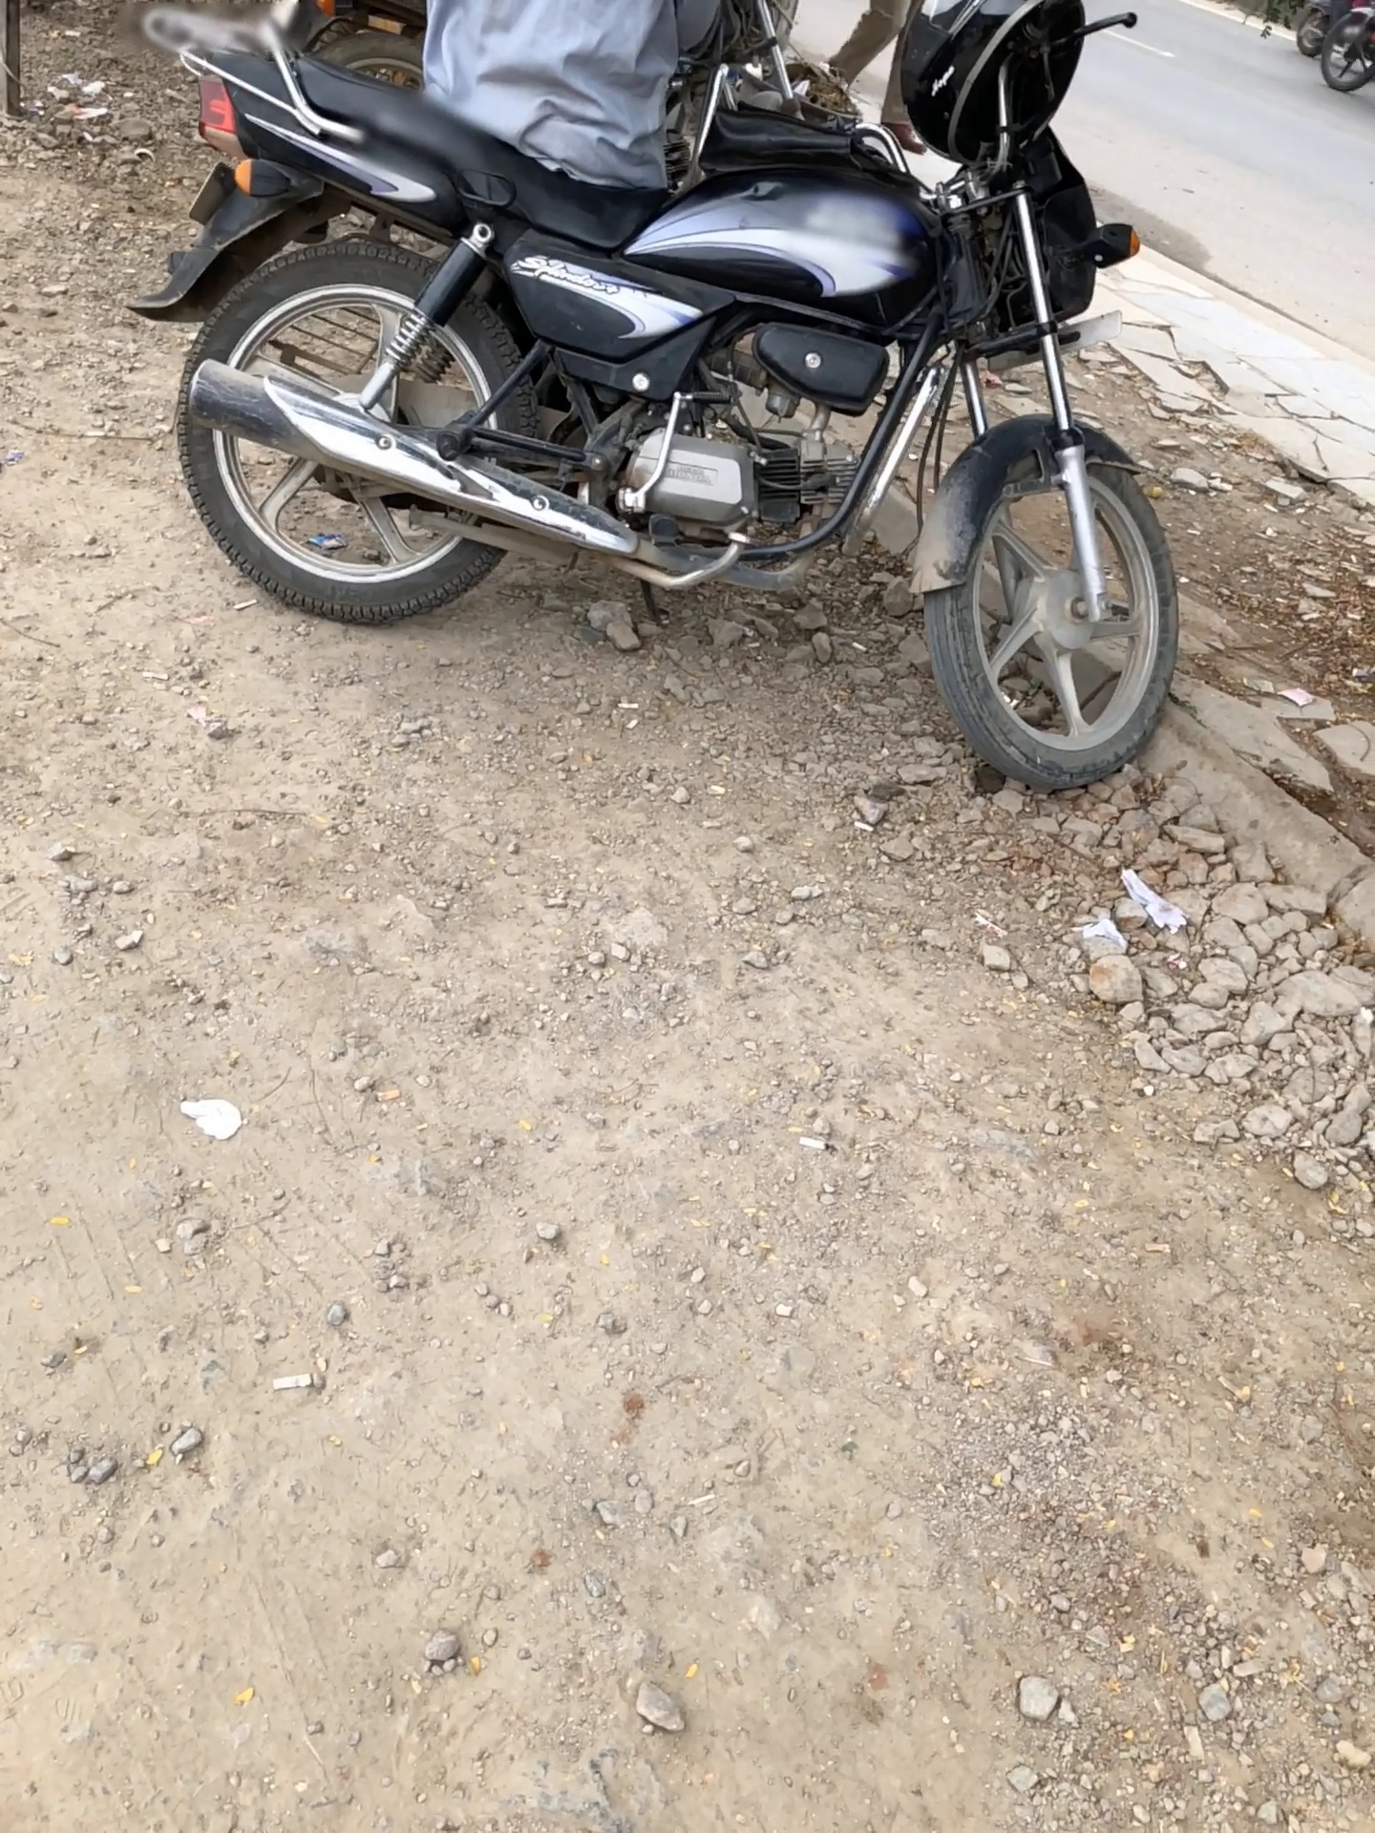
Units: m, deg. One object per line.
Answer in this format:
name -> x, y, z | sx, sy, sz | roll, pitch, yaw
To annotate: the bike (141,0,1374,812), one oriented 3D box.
bike -> 0.062, -0.975, 2.442 | 1.593, 1.170, 0.744 | 9, 37, -5
